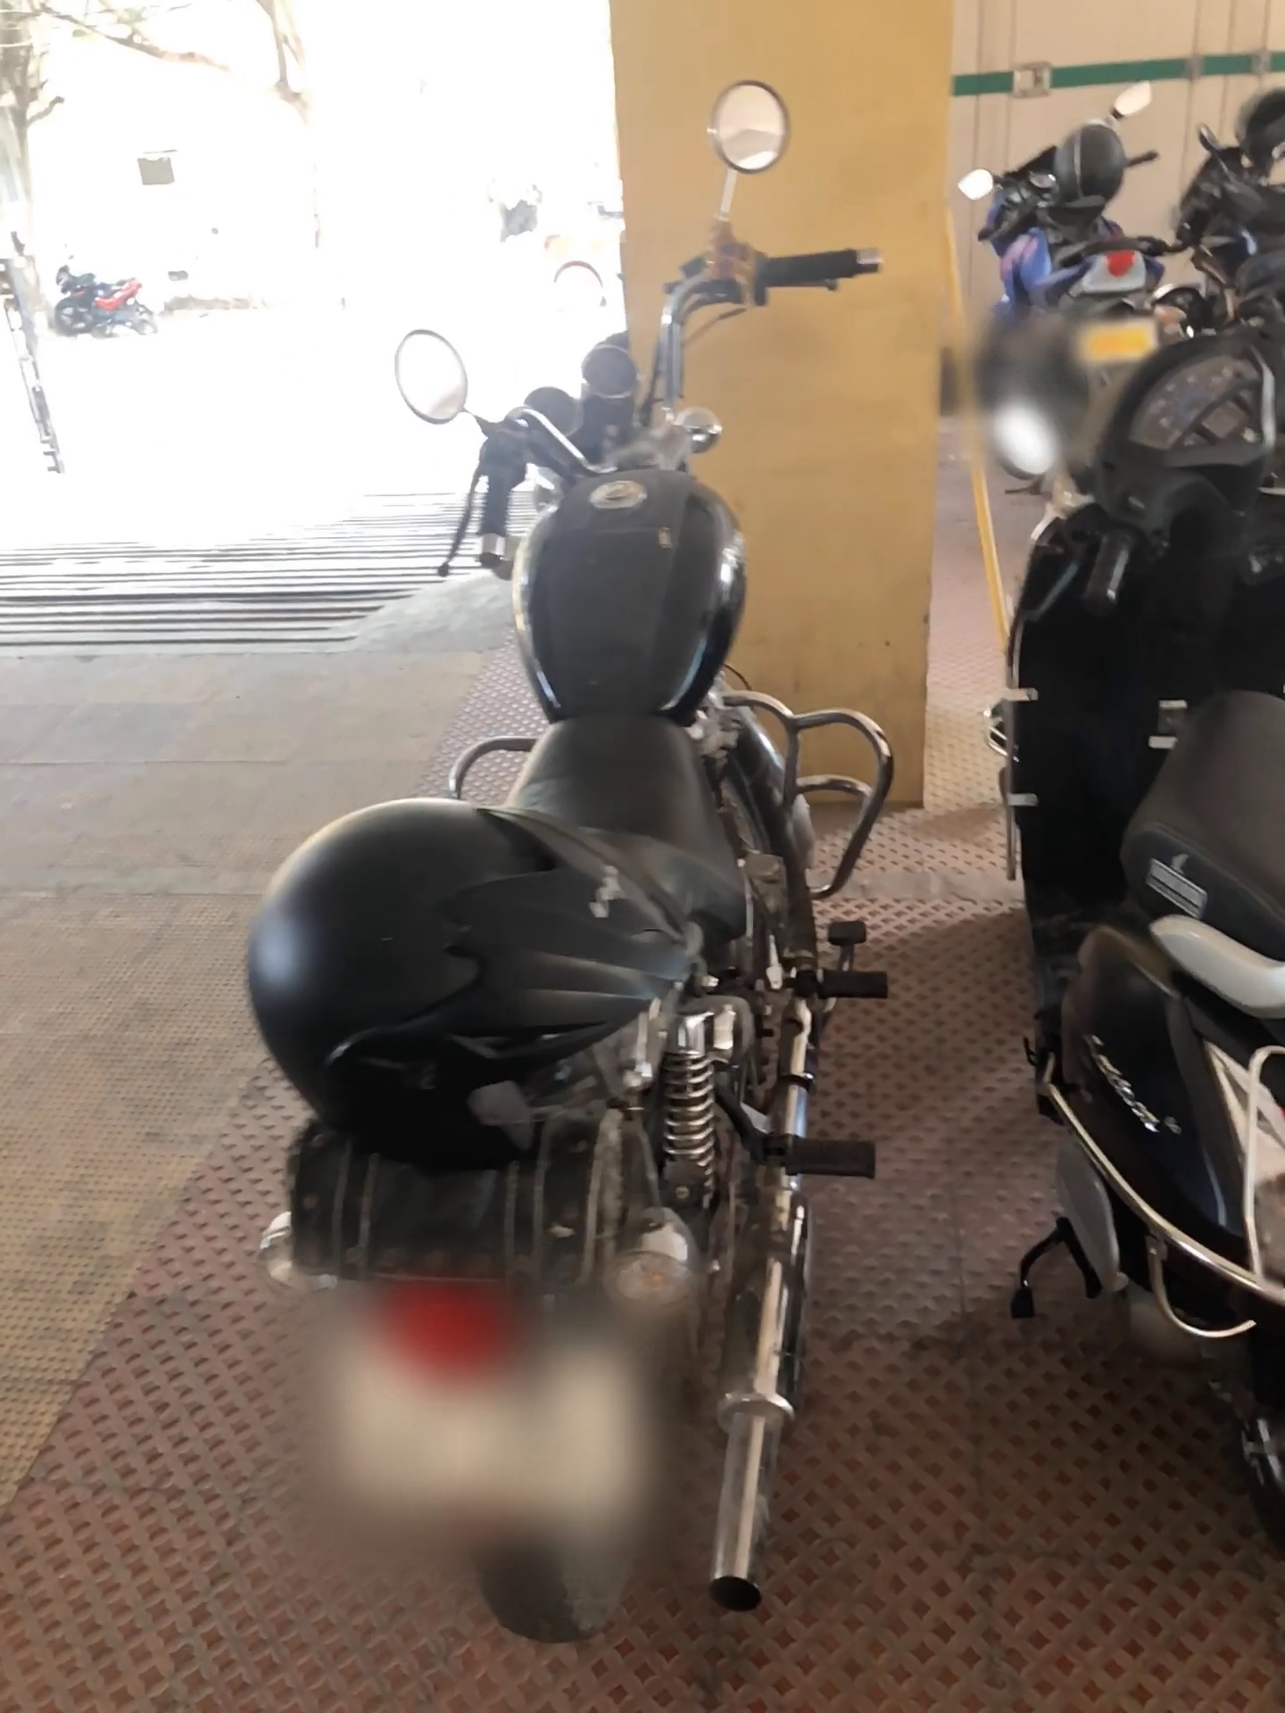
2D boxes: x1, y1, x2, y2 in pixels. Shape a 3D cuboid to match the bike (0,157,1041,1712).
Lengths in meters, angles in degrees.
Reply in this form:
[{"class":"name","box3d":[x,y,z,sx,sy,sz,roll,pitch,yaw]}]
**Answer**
[{"class":"bike","box3d":[-0.147,-0.142,1.912,0.783,1.178,1.819,-4,33,2]}]
